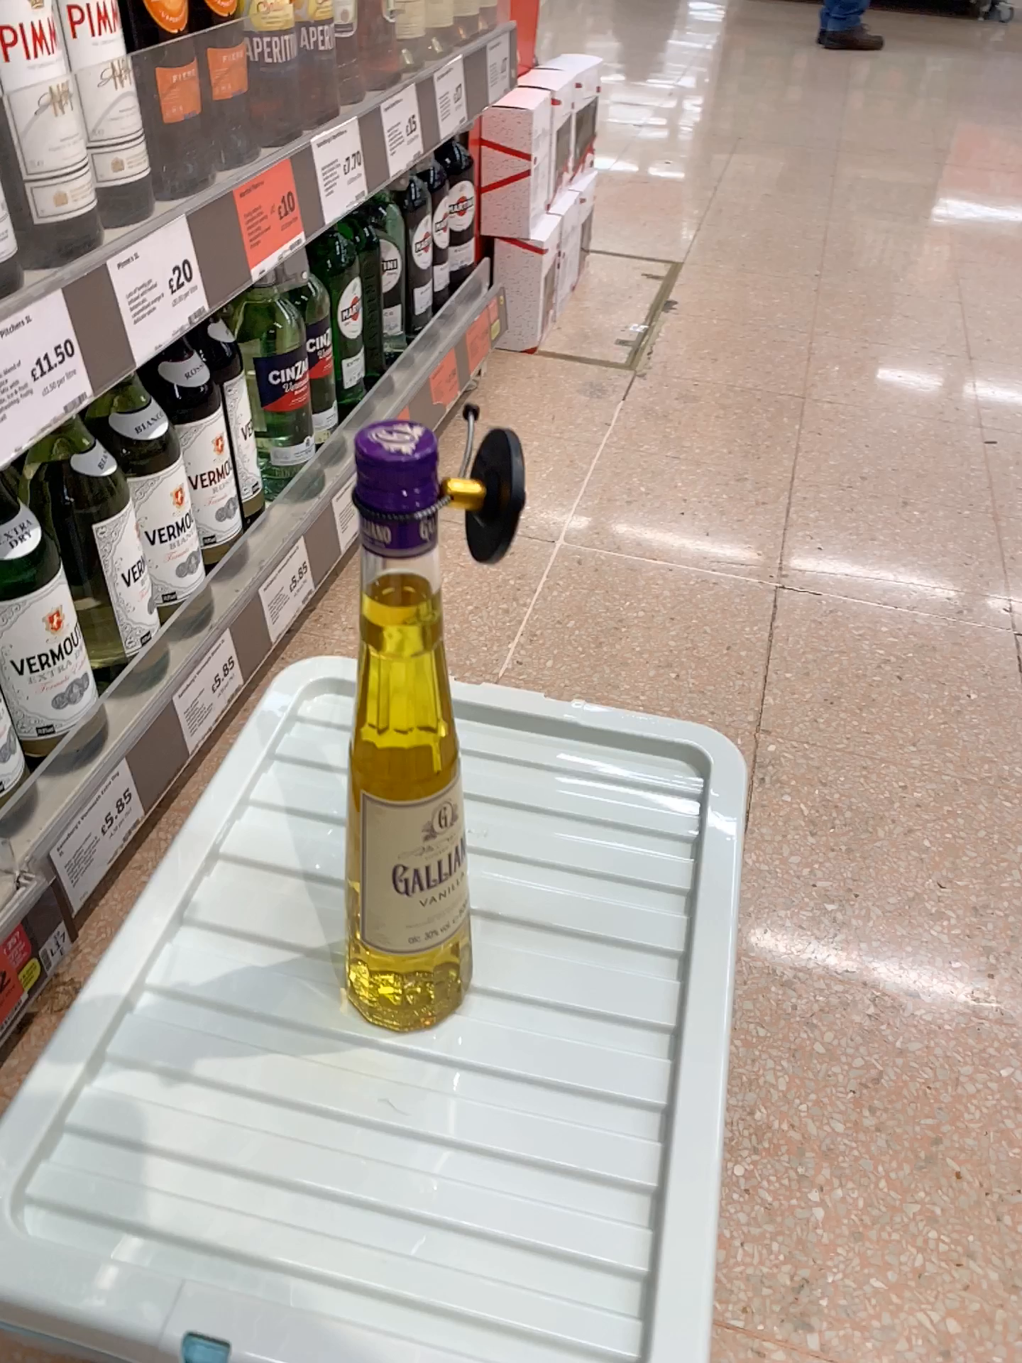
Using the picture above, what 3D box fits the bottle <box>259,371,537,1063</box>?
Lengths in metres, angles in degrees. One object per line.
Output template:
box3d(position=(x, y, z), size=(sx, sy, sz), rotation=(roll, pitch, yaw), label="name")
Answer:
box3d(position=(-0.048, 0.041, 0.489), size=(0.070, 0.347, 0.073), rotation=(2, 40, -2), label="bottle")
